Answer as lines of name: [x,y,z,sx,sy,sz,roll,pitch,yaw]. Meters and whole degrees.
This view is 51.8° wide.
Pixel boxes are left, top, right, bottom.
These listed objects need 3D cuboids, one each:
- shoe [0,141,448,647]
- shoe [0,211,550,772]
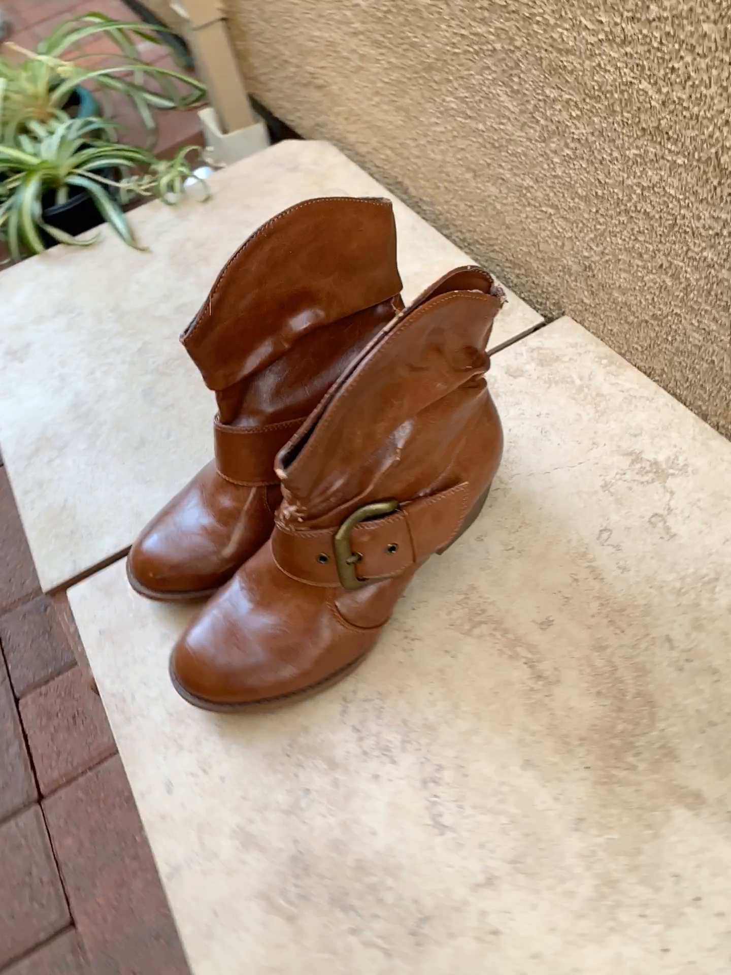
shoe: [-0.084,-0.051,0.469,0.244,0.198,0.096,-35,53,-13]
shoe: [-0.030,0.011,0.409,0.244,0.198,0.101,-32,53,-11]
